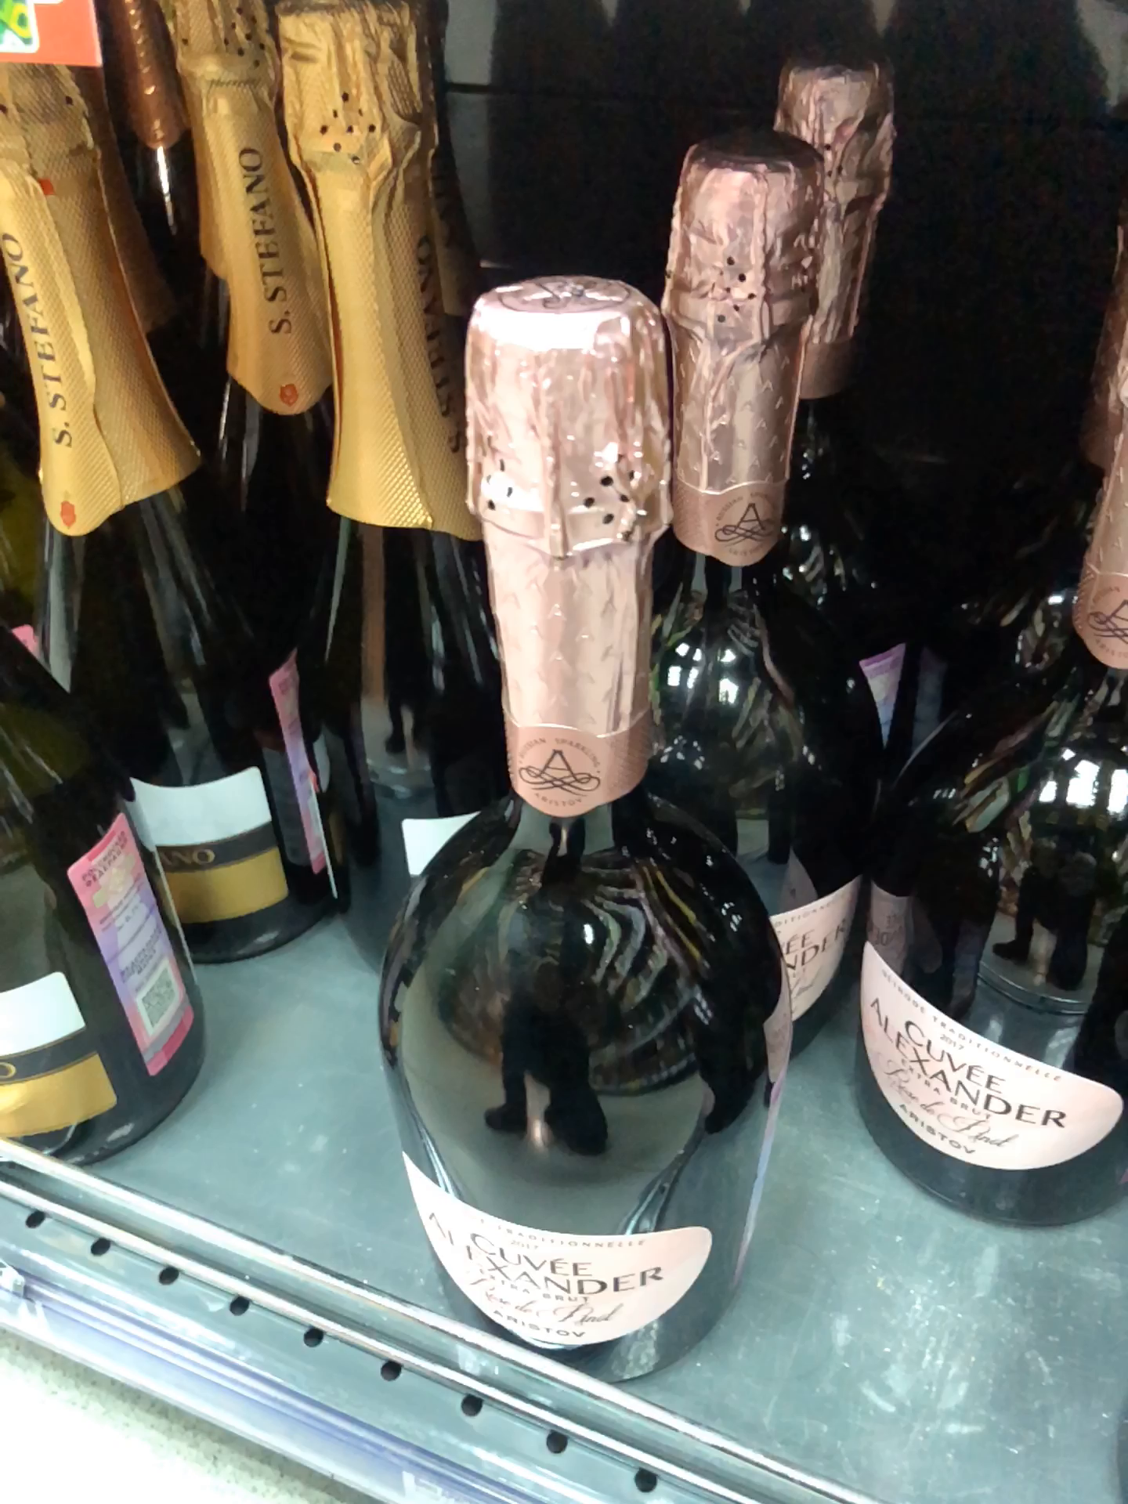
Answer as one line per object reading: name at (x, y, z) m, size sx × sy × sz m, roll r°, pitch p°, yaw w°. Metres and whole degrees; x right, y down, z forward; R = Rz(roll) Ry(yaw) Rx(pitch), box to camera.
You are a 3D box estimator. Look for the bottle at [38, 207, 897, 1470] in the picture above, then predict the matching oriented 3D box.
bottle at (-0.004, 0.039, 0.283) m, size 0.110 × 0.278 × 0.090 m, roll 10°, pitch 40°, yaw 15°
